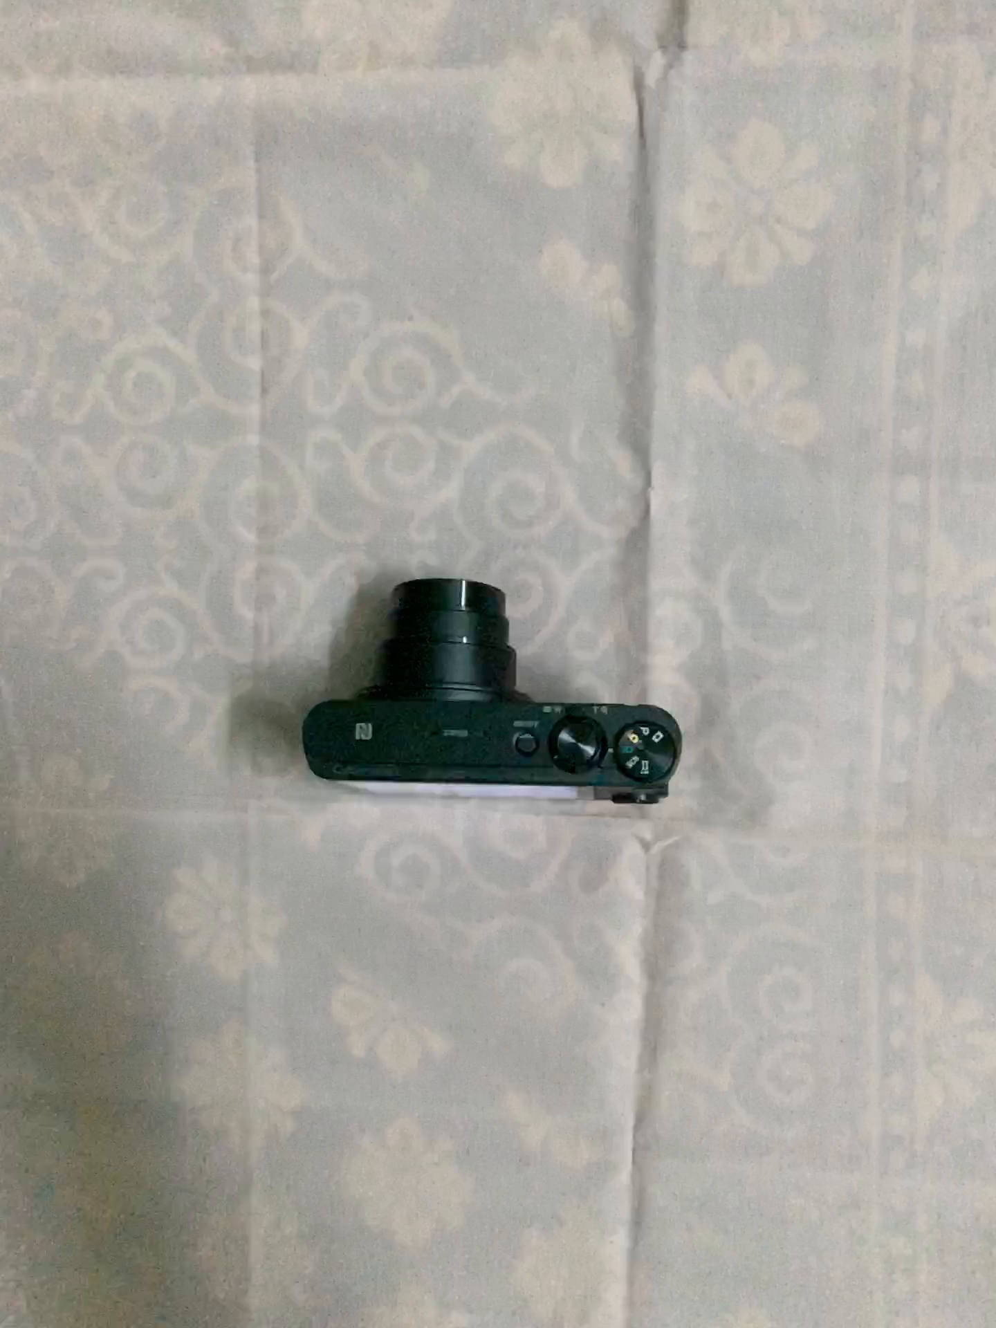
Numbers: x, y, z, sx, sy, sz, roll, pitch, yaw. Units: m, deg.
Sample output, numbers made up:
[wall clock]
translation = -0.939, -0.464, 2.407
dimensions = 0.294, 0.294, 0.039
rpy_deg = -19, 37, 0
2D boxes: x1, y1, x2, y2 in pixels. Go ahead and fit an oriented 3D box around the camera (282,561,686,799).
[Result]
[camera]
translation = -0.001, 0.006, 0.286
dimensions = 0.100, 0.060, 0.058
rpy_deg = 1, 85, 6
